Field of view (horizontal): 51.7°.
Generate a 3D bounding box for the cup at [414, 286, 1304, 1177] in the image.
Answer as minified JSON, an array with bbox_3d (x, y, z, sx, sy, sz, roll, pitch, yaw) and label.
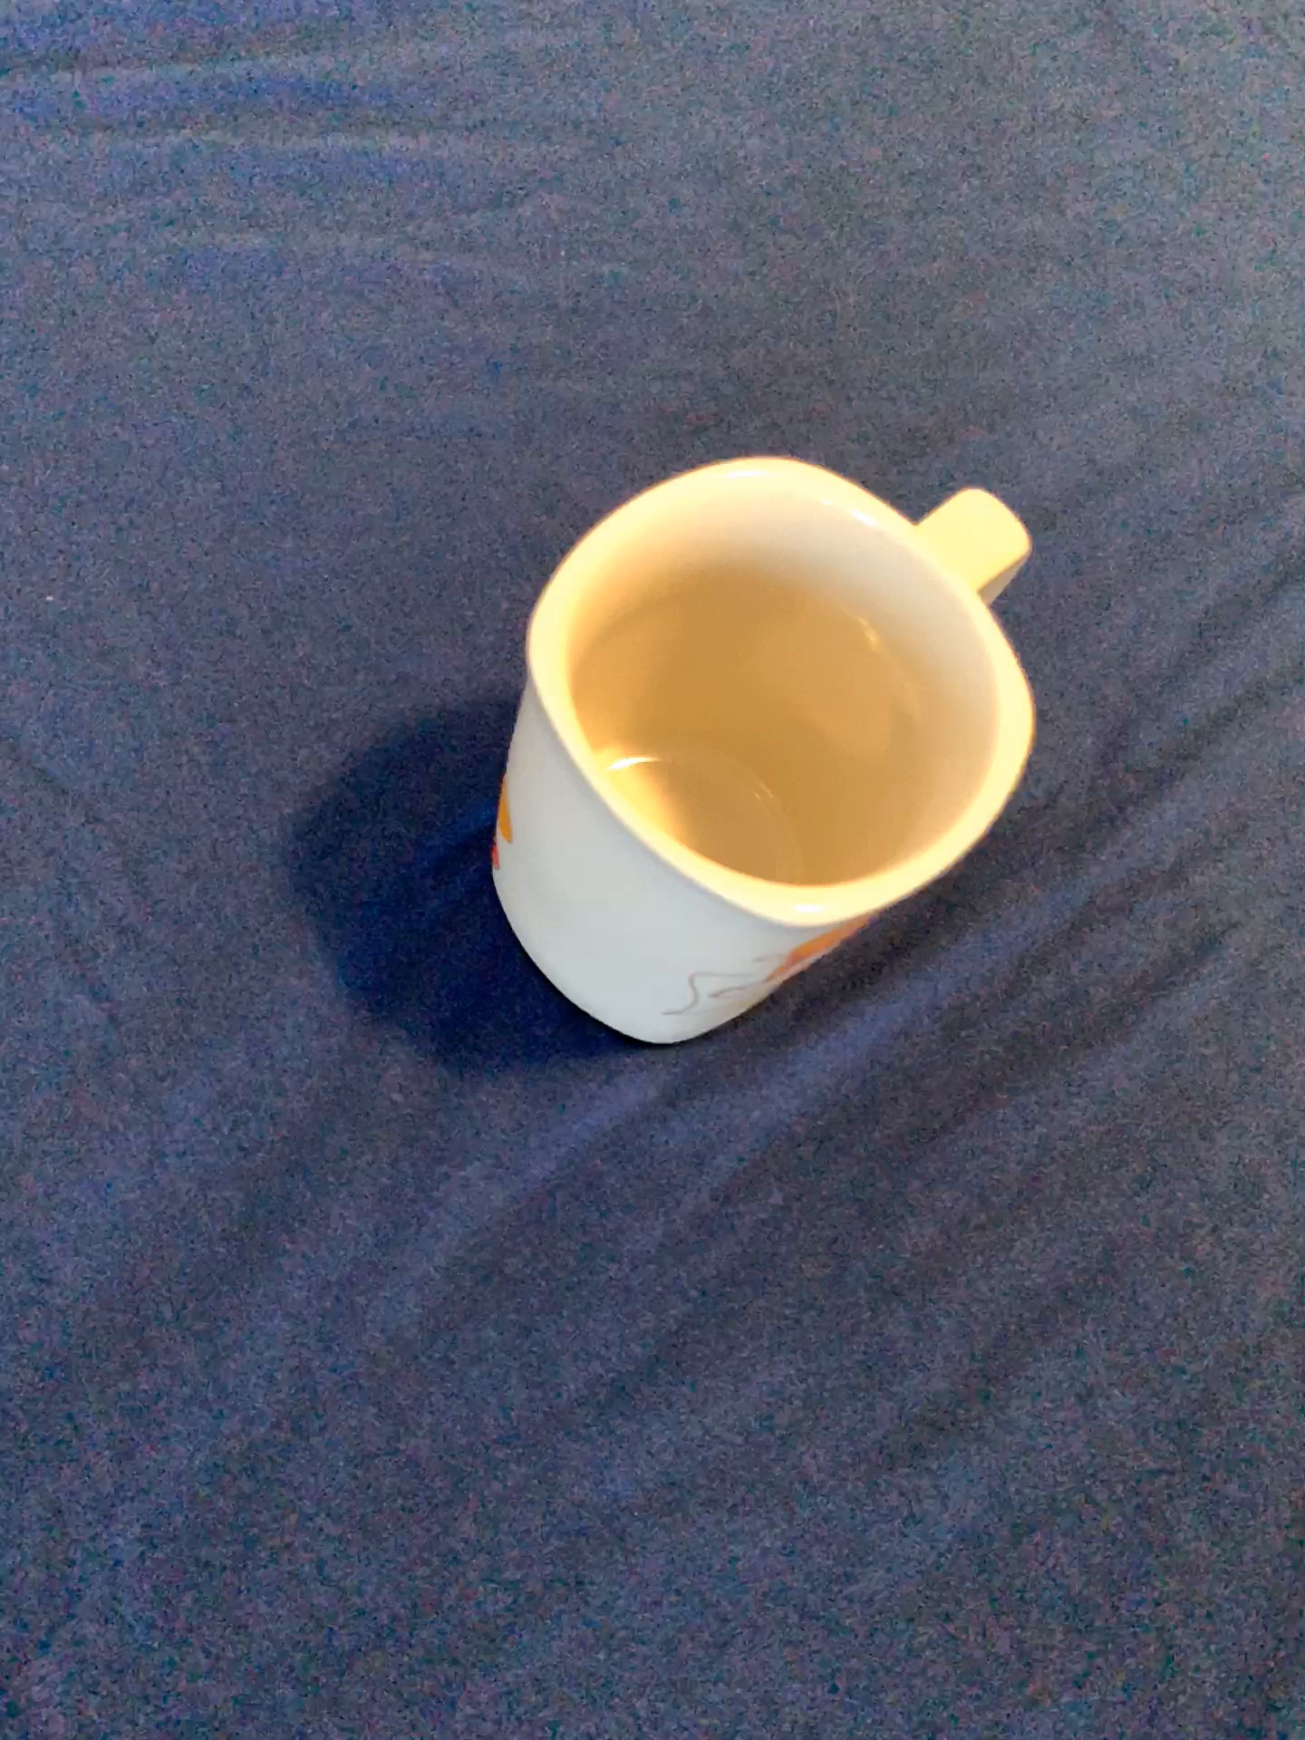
[{"bbox_3d":[0.028,-0.019,0.227,0.110,0.090,0.070,-38,79,-24],"label":"cup"}]
